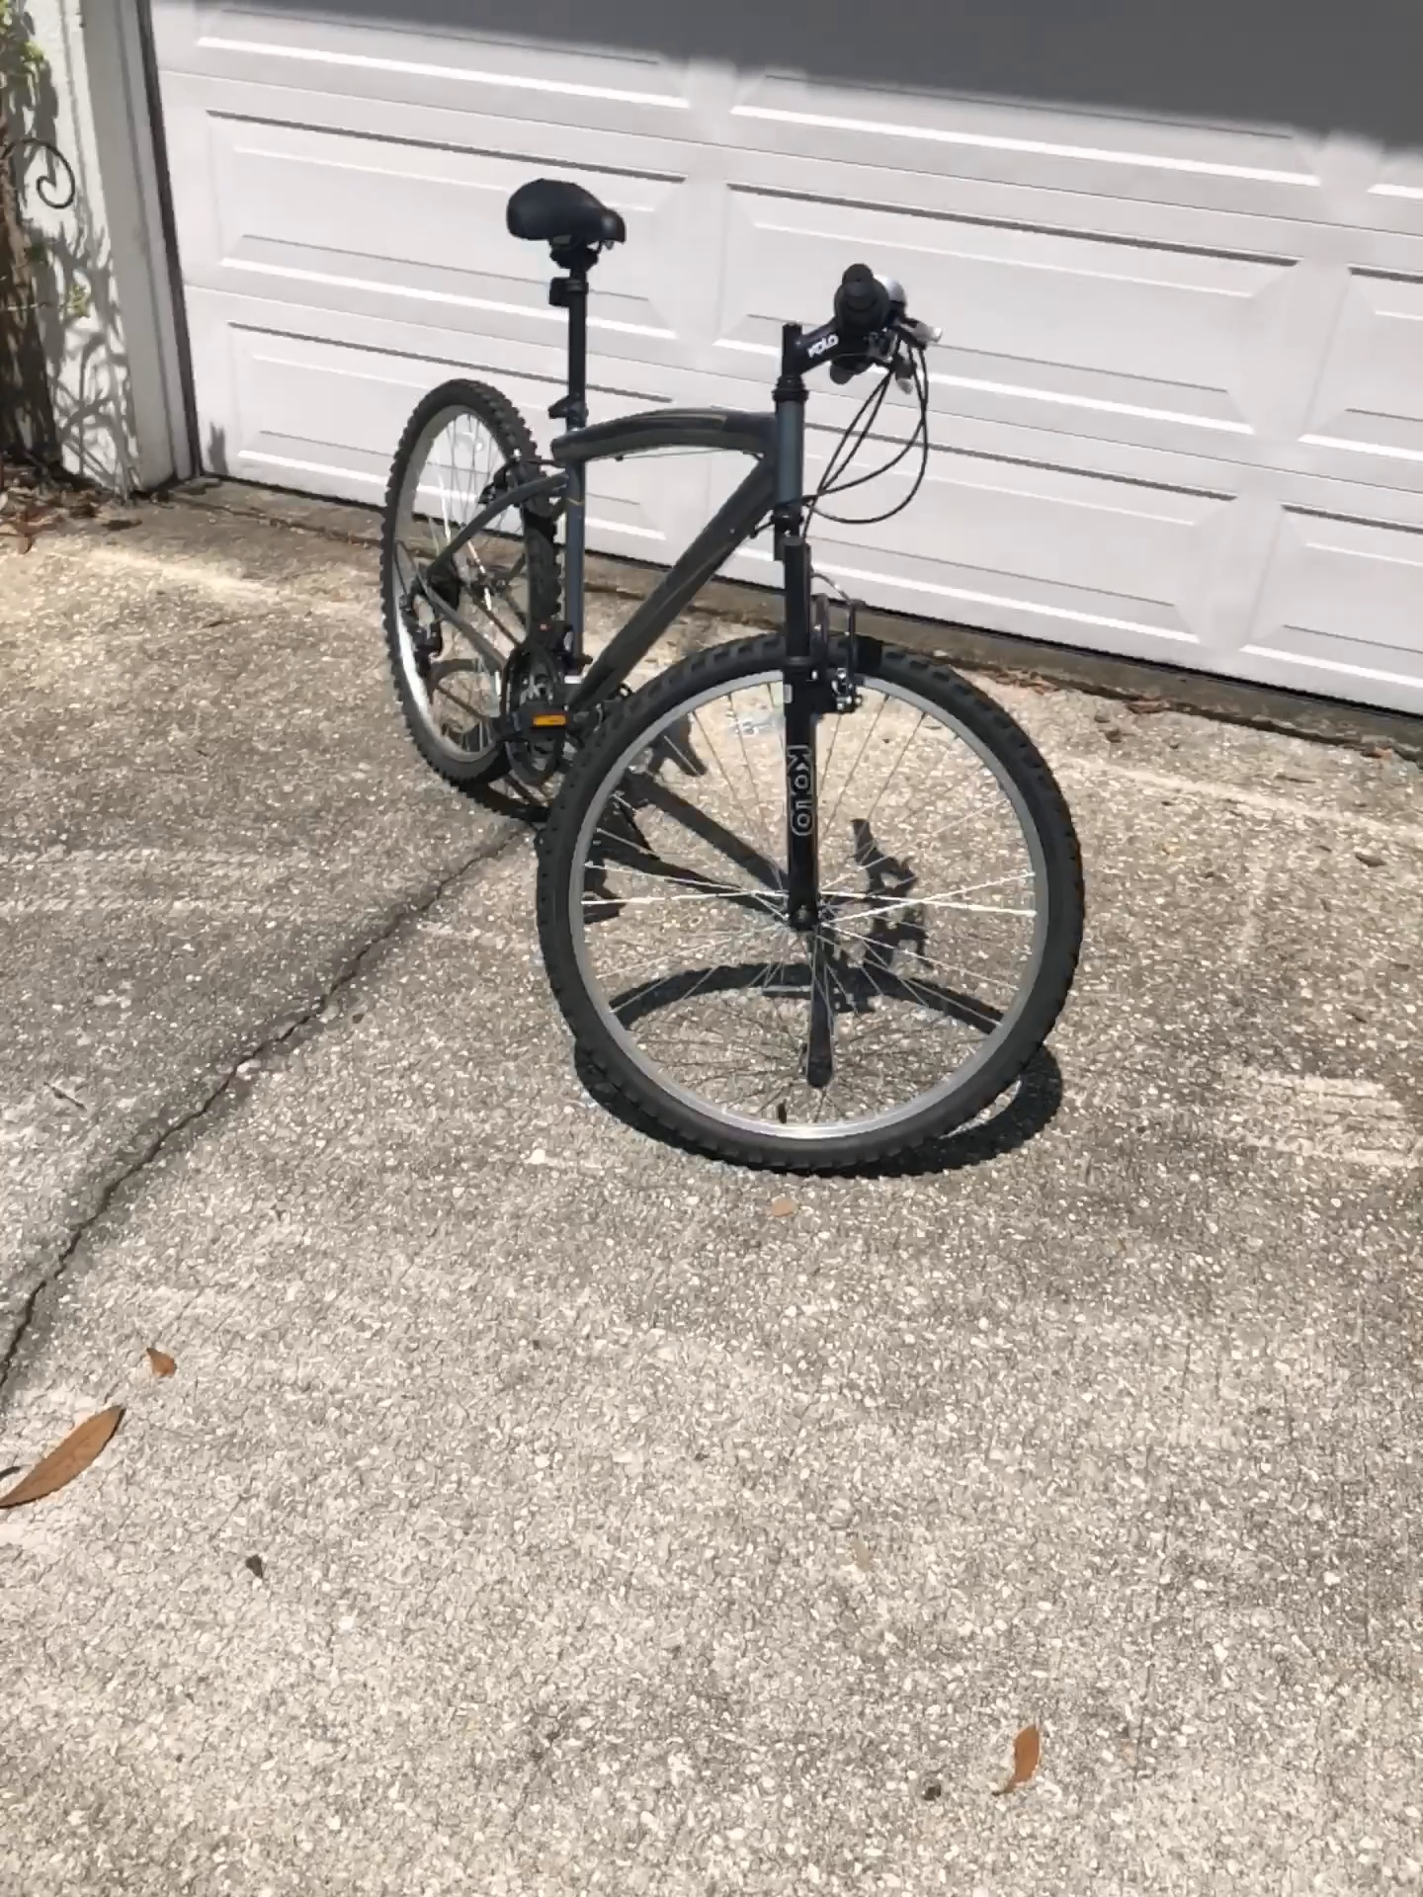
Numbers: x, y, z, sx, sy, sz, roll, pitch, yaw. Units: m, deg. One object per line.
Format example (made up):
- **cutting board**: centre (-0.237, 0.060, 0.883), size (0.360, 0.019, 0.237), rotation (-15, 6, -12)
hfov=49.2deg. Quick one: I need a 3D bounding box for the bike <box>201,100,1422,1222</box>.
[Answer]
- **bike**: centre (0.008, -0.530, 2.290), size (0.680, 0.979, 1.536), rotation (-21, 44, -34)
